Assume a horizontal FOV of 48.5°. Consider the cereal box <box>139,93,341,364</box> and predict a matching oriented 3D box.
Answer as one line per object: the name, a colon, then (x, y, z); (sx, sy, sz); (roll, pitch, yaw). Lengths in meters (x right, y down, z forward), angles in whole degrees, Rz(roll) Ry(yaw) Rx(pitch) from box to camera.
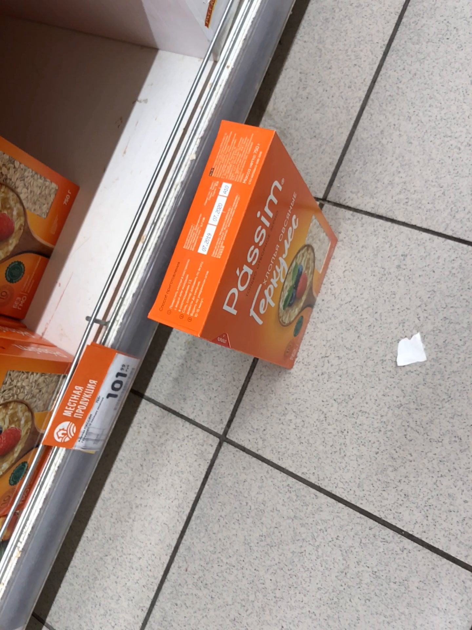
cereal box: (0.024, -0.055, 0.487); (0.050, 0.249, 0.170); (18, 87, 23)
